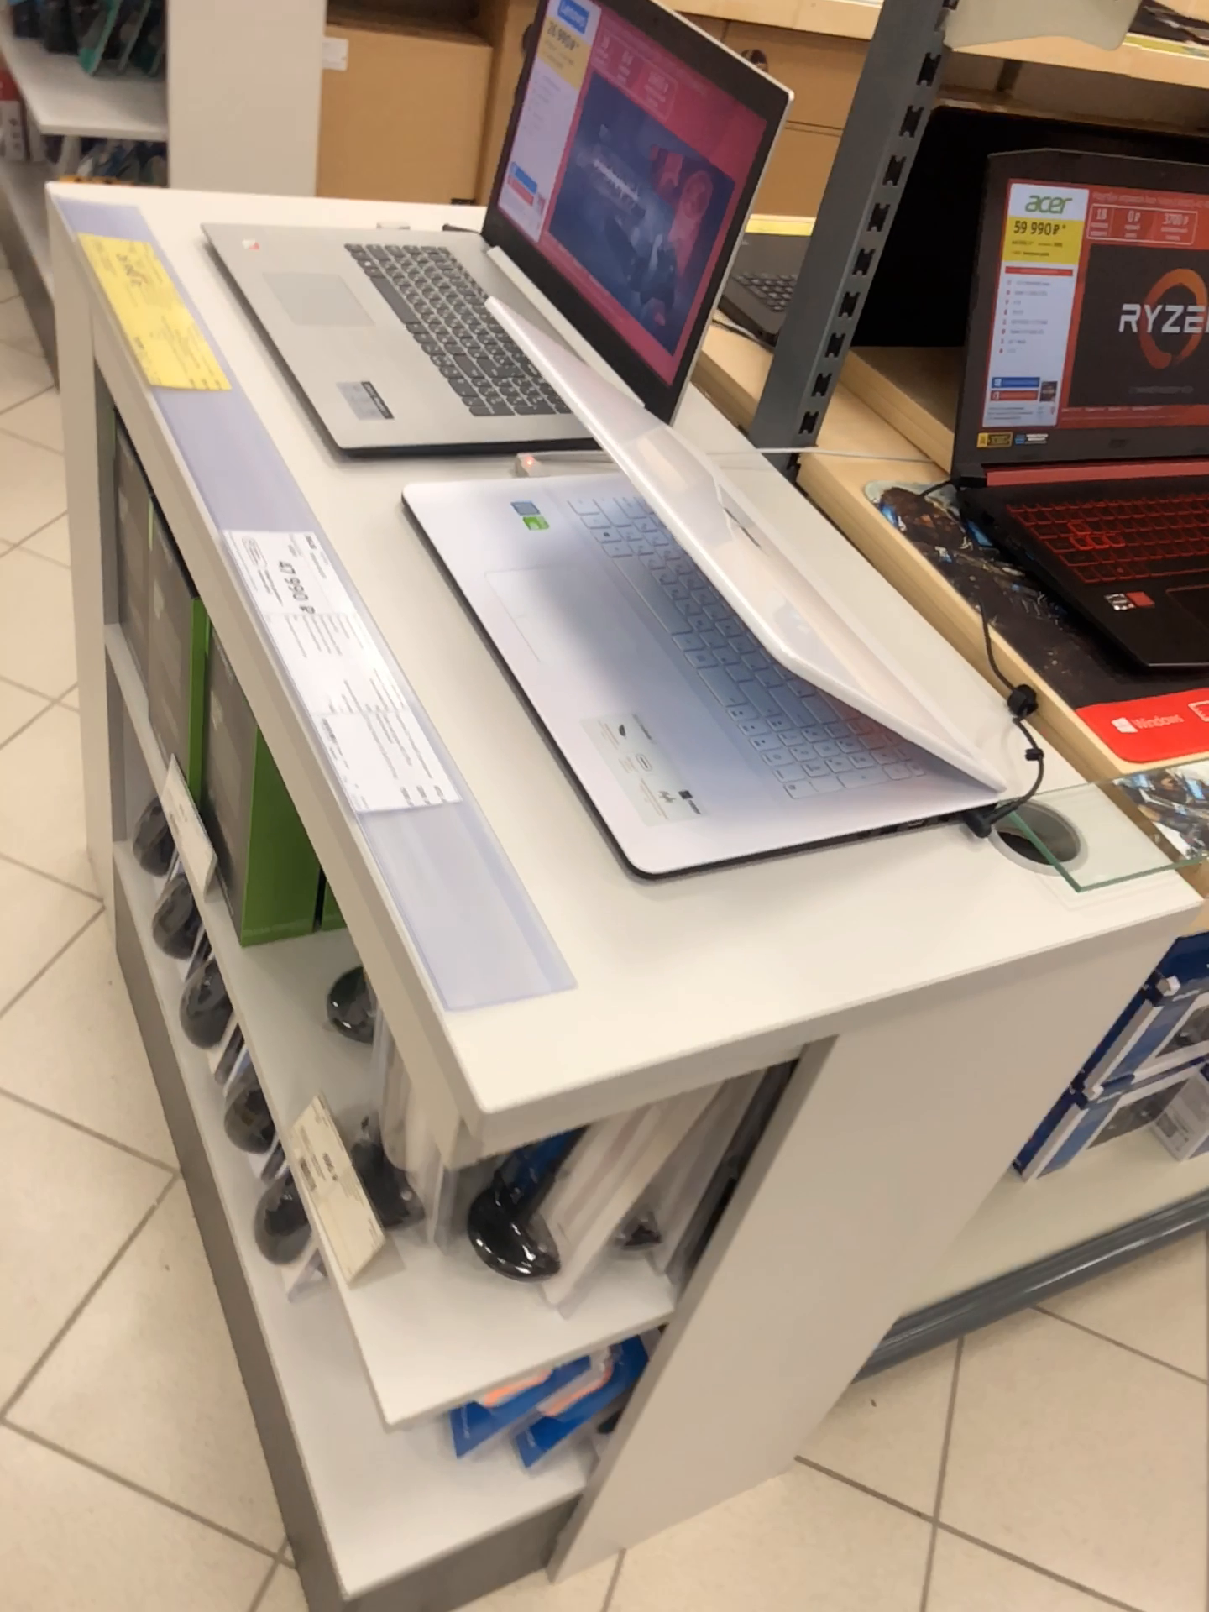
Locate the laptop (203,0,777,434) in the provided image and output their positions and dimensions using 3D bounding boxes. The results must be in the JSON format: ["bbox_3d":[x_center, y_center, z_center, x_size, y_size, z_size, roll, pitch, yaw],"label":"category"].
[{"bbox_3d":[-0.121,-0.545,1.120,0.337,0.262,0.393,-12,48,-30],"label":"laptop"}]

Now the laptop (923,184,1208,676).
[{"bbox_3d":[0.531,-0.340,1.107,0.377,0.220,0.367,-7,45,-22],"label":"laptop"}]

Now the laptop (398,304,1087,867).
[{"bbox_3d":[0.066,-0.170,0.877,0.257,0.142,0.392,-11,49,-29],"label":"laptop"}]
